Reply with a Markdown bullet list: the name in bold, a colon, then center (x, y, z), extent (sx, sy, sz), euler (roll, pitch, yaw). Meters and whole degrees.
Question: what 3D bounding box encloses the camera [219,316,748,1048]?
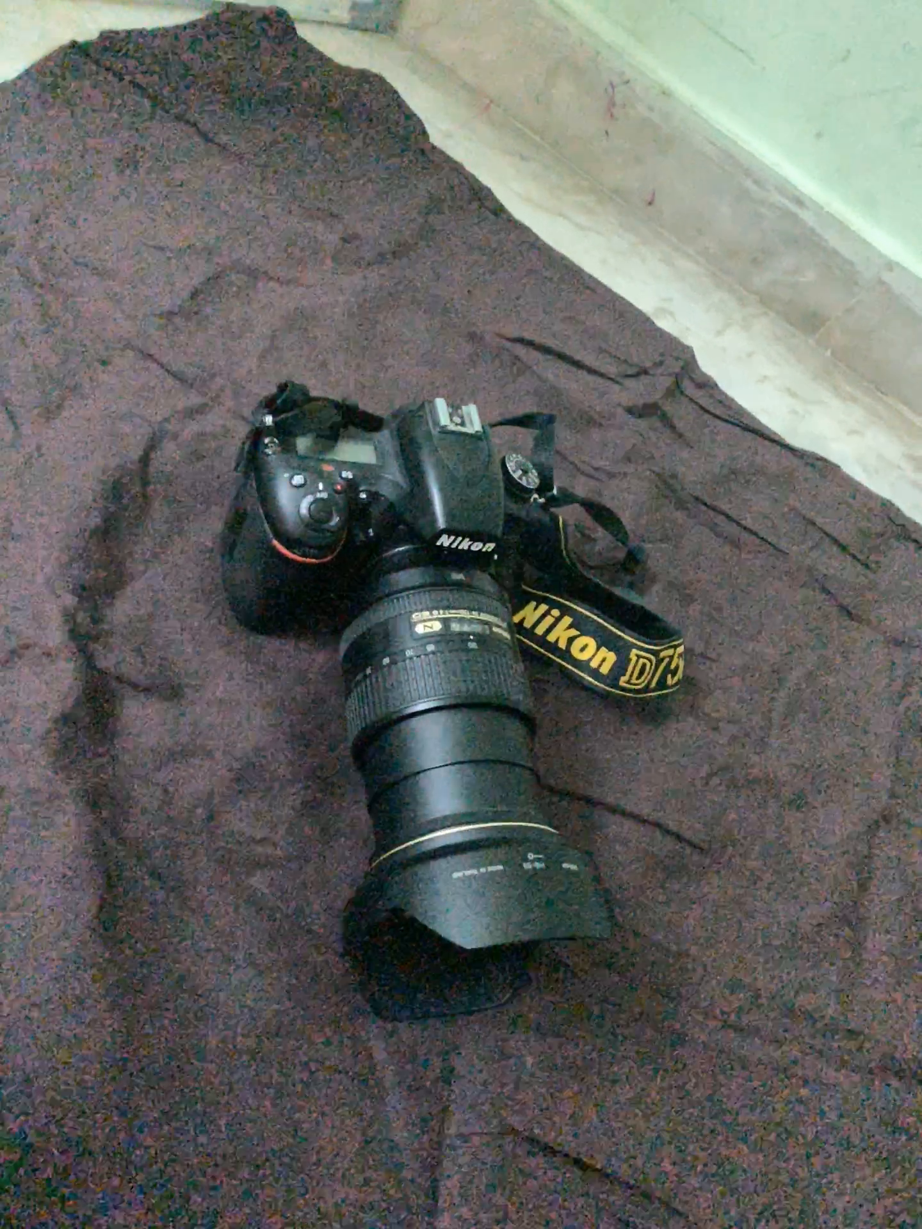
- **camera**: center (-0.009, 0.023, 0.416), extent (0.161, 0.100, 0.279), euler (6, 57, -27)
